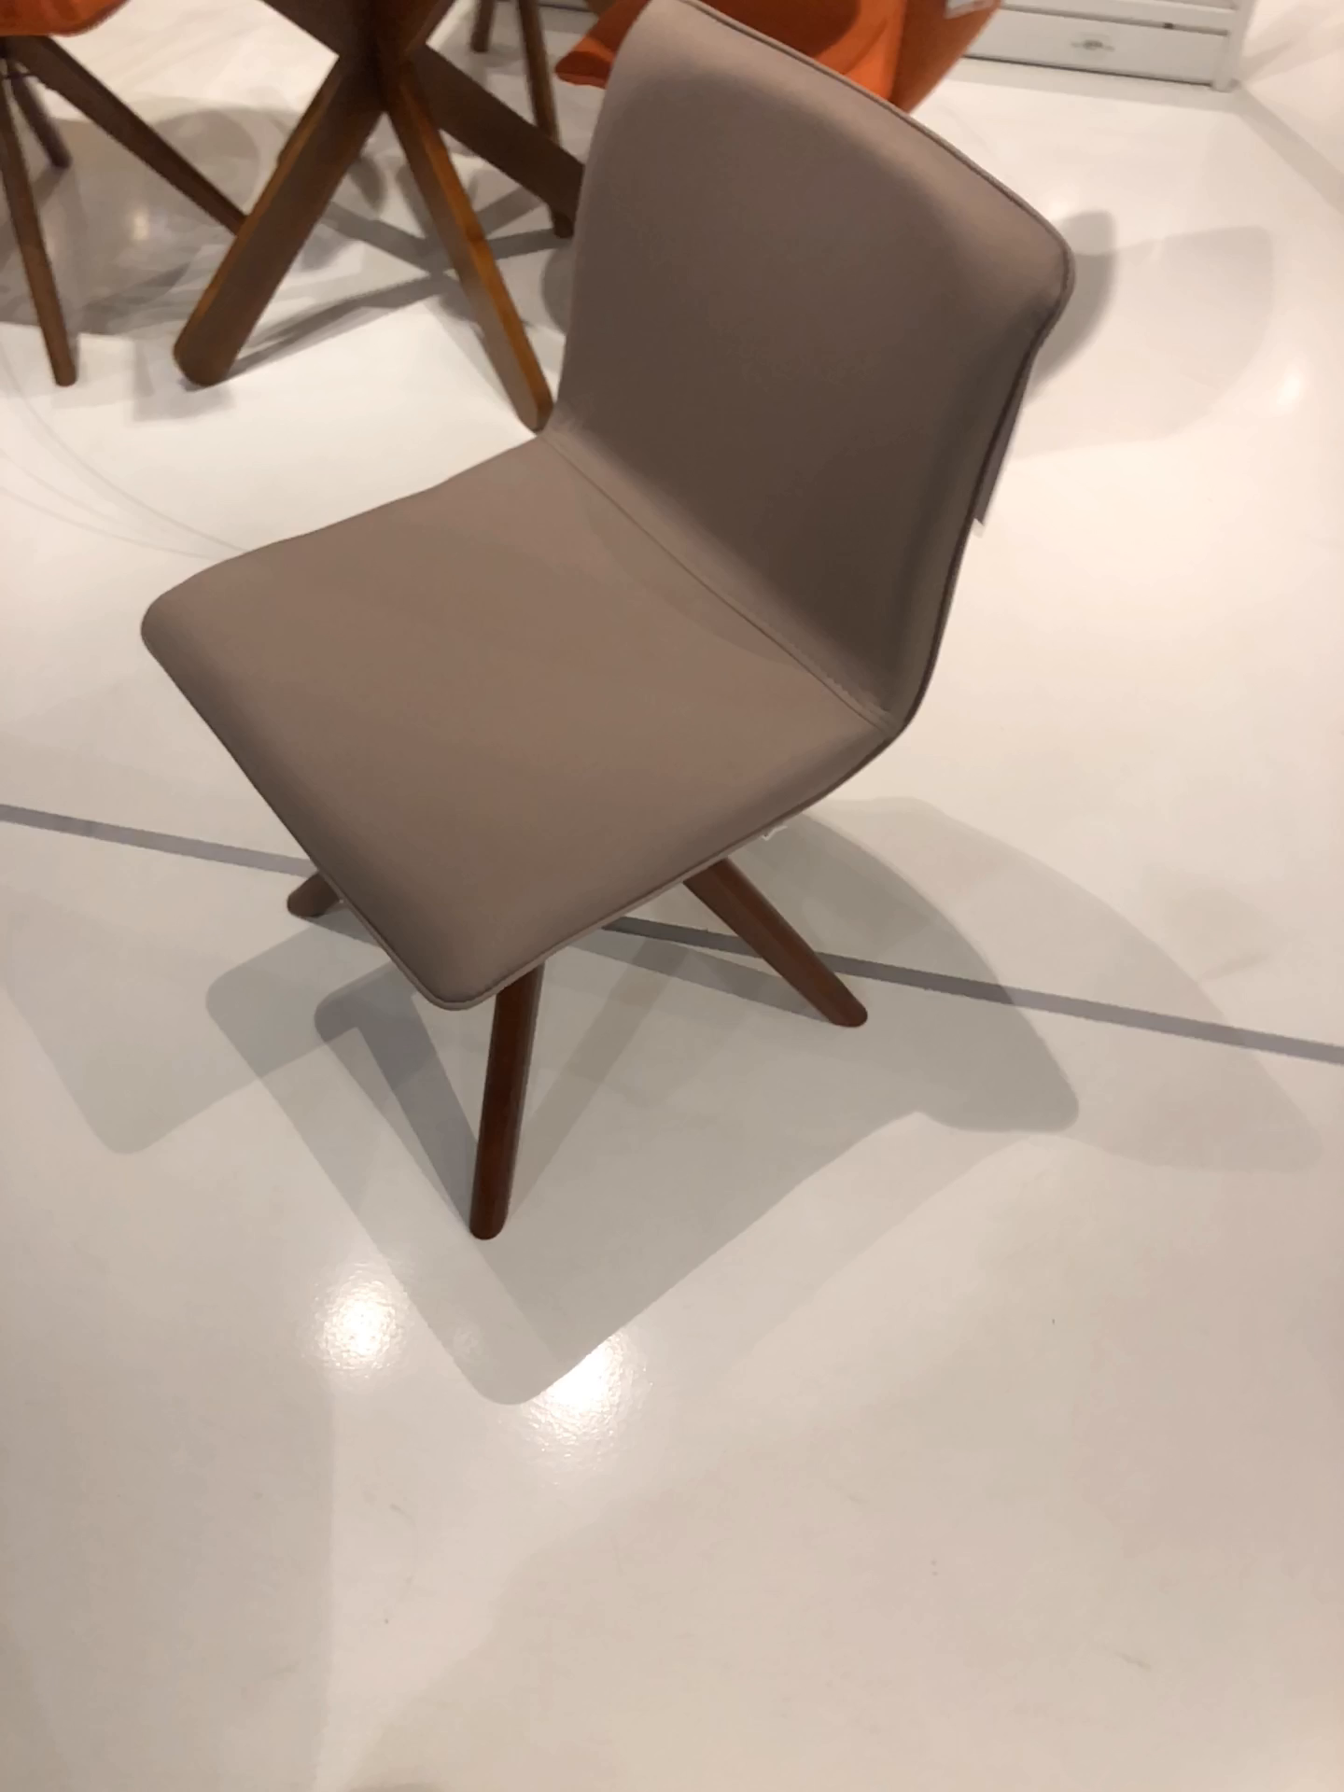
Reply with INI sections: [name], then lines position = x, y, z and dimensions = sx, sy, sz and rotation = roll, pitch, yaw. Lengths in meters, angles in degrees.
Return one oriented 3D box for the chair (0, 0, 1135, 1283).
[chair]
position = -0.103, -0.181, 1.173
dimensions = 0.511, 0.806, 0.502
rotation = -31, 61, -20
